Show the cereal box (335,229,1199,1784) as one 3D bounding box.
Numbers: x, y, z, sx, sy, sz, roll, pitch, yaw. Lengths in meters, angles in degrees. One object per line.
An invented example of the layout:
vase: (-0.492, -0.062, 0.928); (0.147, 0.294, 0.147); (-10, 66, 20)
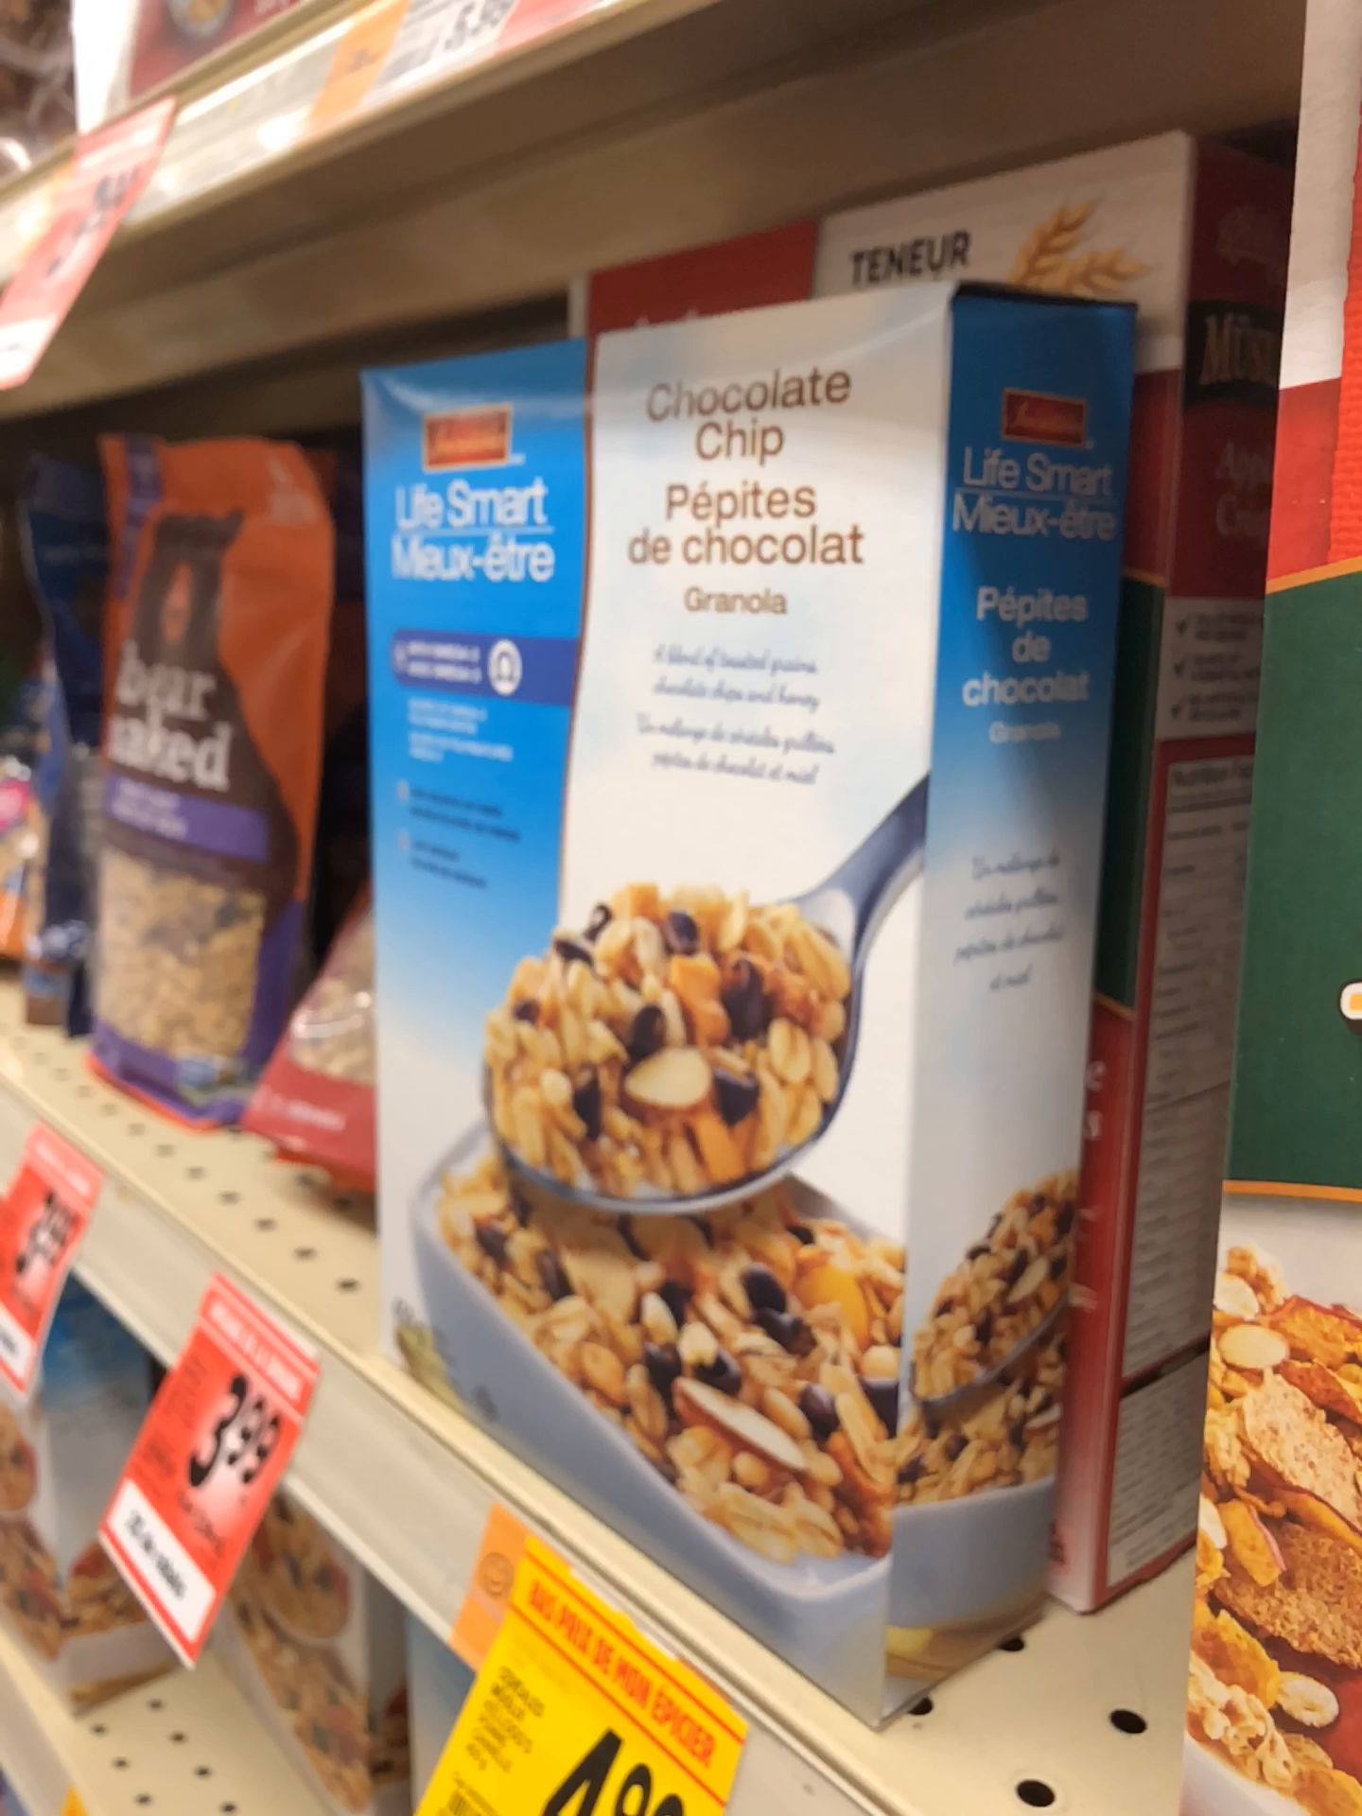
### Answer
cereal box: (-0.002, 0.007, 0.313); (0.050, 0.239, 0.180); (-5, 13, -41)
